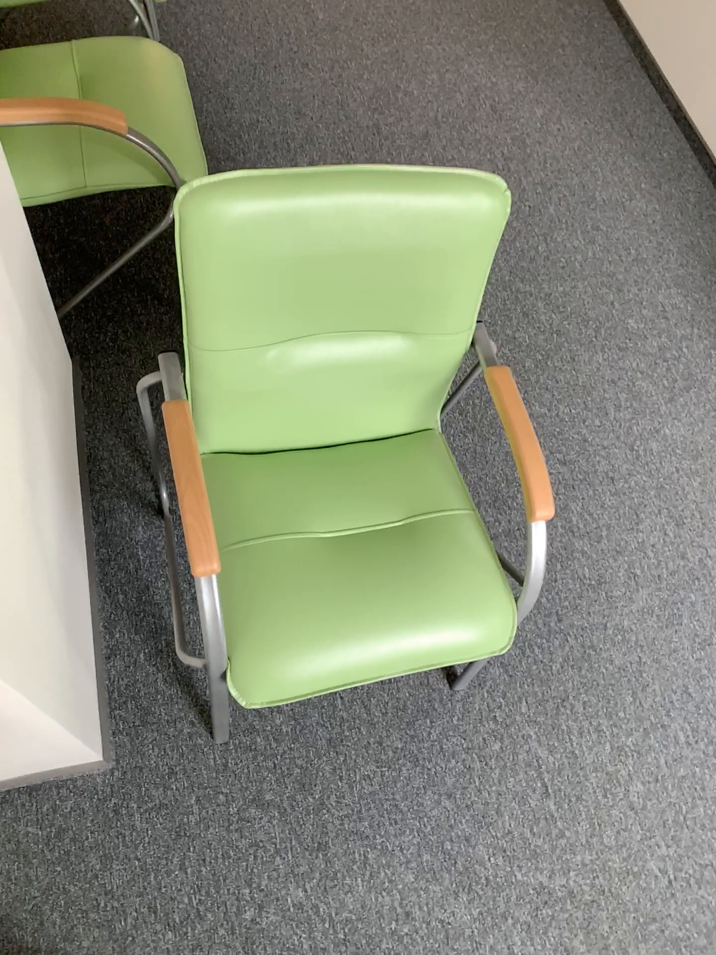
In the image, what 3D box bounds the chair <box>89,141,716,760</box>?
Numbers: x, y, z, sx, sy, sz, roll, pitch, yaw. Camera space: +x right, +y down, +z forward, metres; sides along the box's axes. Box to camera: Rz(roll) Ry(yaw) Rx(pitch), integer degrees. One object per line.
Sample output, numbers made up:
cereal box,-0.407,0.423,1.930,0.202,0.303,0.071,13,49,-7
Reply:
chair,-0.032,0.031,1.227,0.621,0.877,0.621,-8,65,-14
